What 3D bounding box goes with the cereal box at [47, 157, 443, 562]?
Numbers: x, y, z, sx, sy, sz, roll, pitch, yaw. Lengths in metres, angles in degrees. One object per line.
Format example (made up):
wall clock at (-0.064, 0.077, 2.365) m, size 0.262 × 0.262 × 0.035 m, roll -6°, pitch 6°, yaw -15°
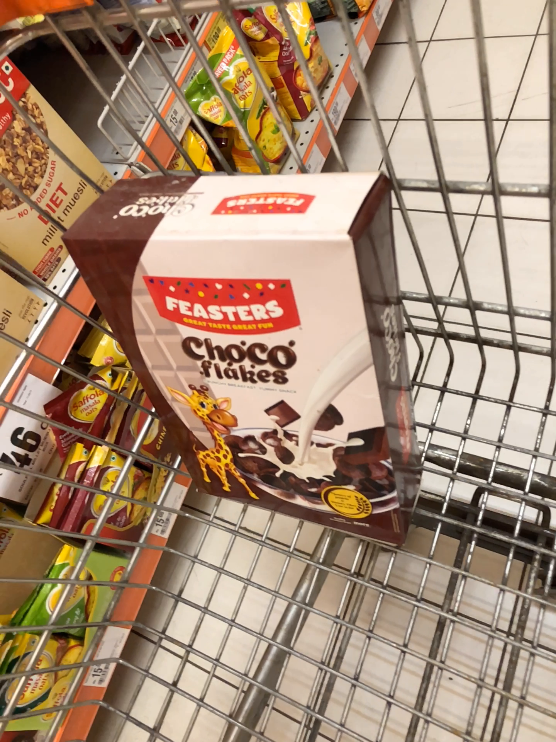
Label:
cereal box at (-0.001, 0.003, 0.376) m, size 0.170 × 0.239 × 0.070 m, roll 6°, pitch 46°, yaw 27°
